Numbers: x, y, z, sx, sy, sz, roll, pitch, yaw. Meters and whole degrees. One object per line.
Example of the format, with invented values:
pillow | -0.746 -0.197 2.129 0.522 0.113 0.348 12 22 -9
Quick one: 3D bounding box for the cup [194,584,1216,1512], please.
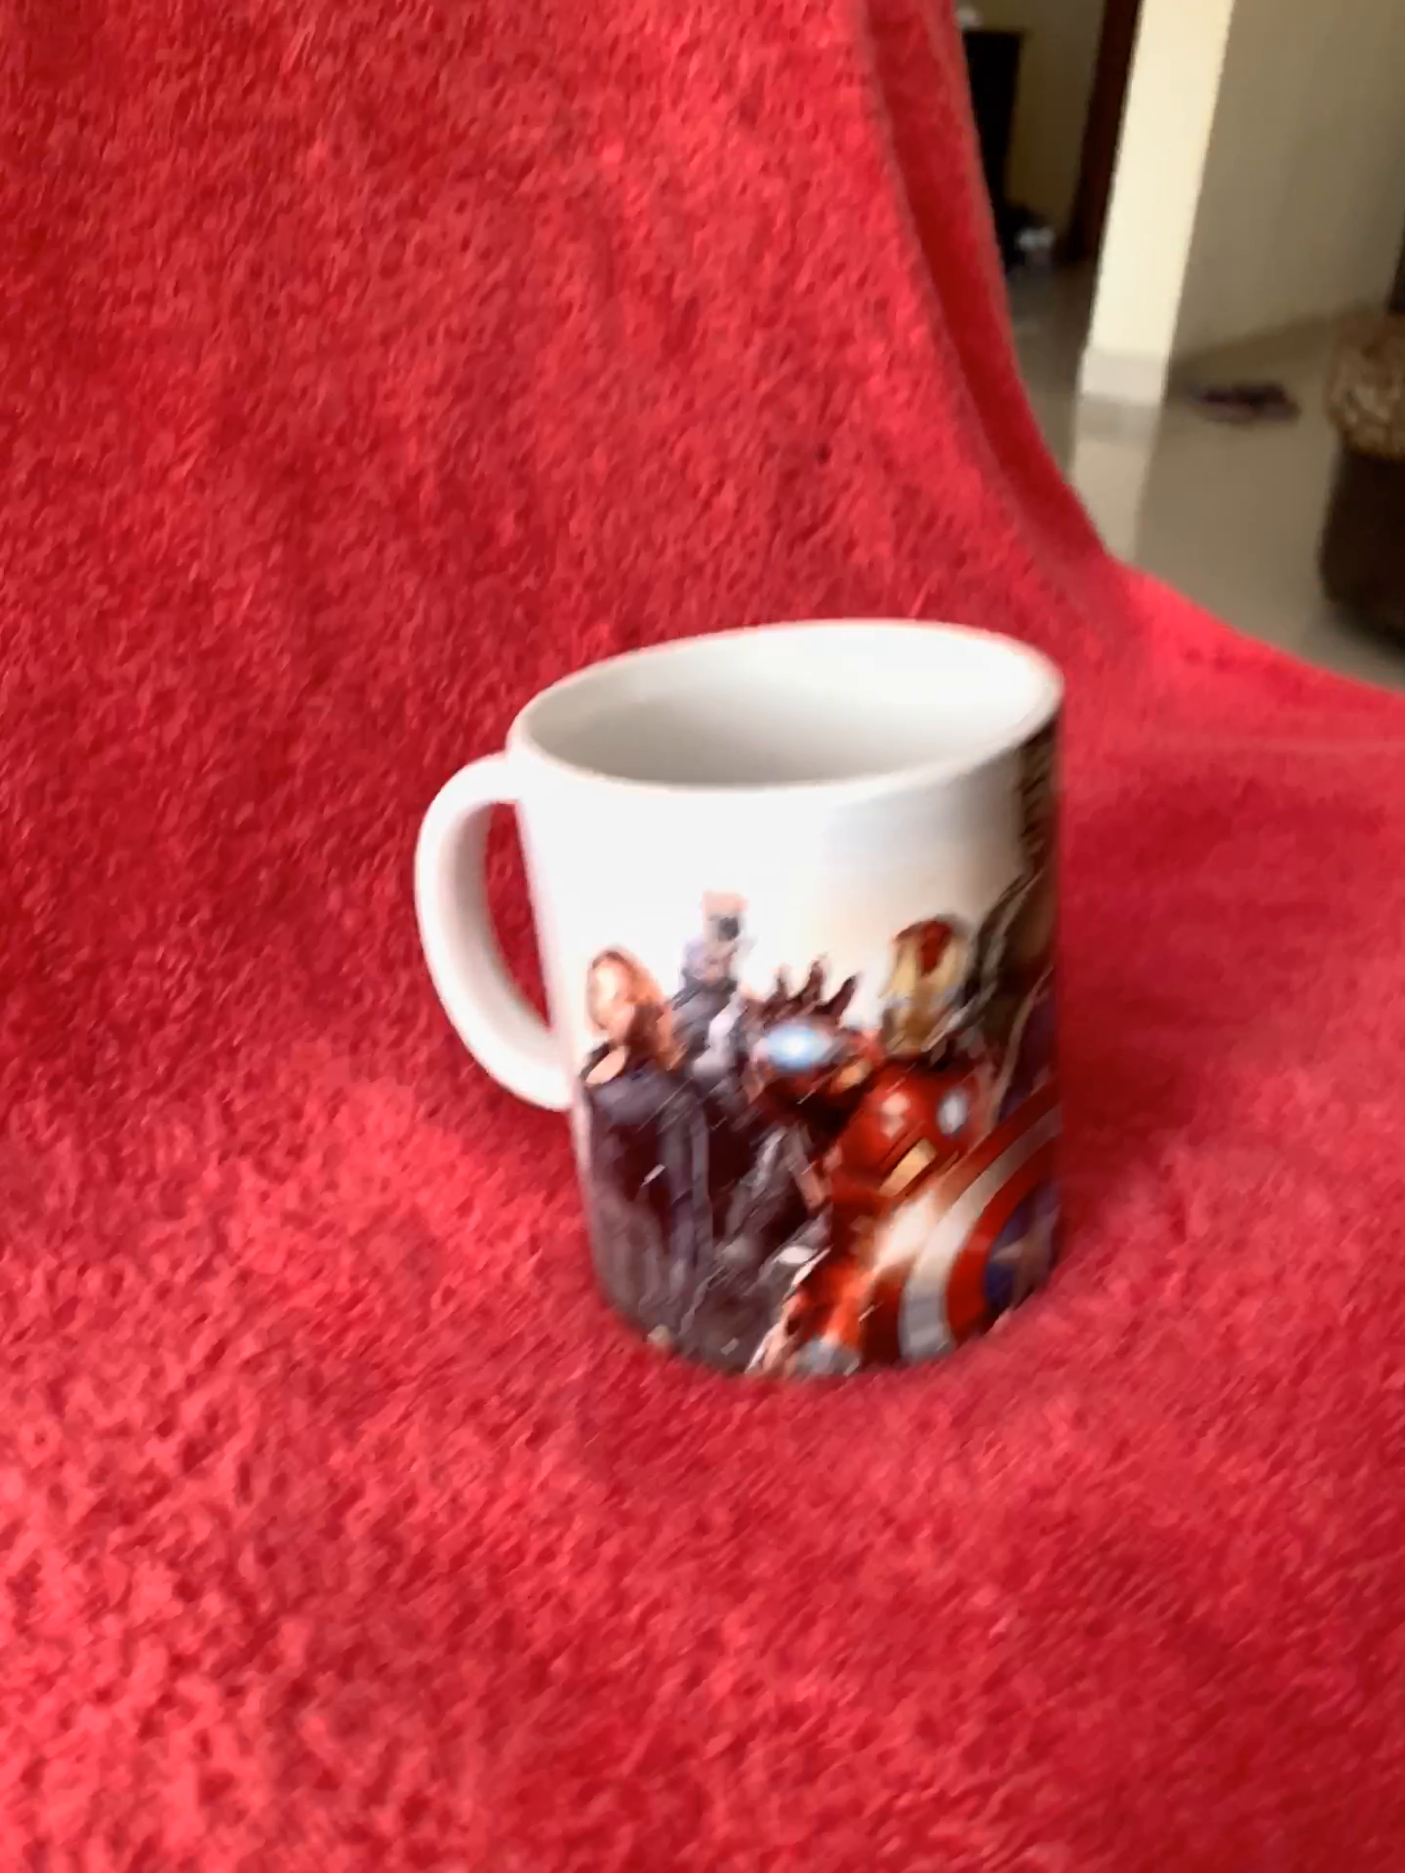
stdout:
cup | 0.001 0.002 0.234 0.120 0.089 0.090 15 28 34
